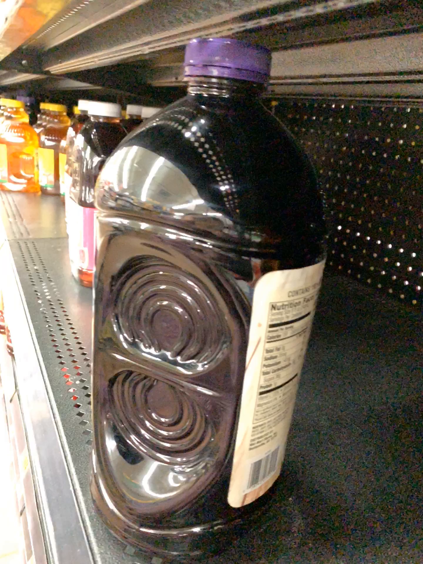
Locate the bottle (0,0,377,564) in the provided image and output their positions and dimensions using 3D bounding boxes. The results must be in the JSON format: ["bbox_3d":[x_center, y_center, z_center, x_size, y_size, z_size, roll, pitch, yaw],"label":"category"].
[{"bbox_3d":[-0.016,0.009,0.265,0.140,0.279,0.130,4,21,-2],"label":"bottle"}]
